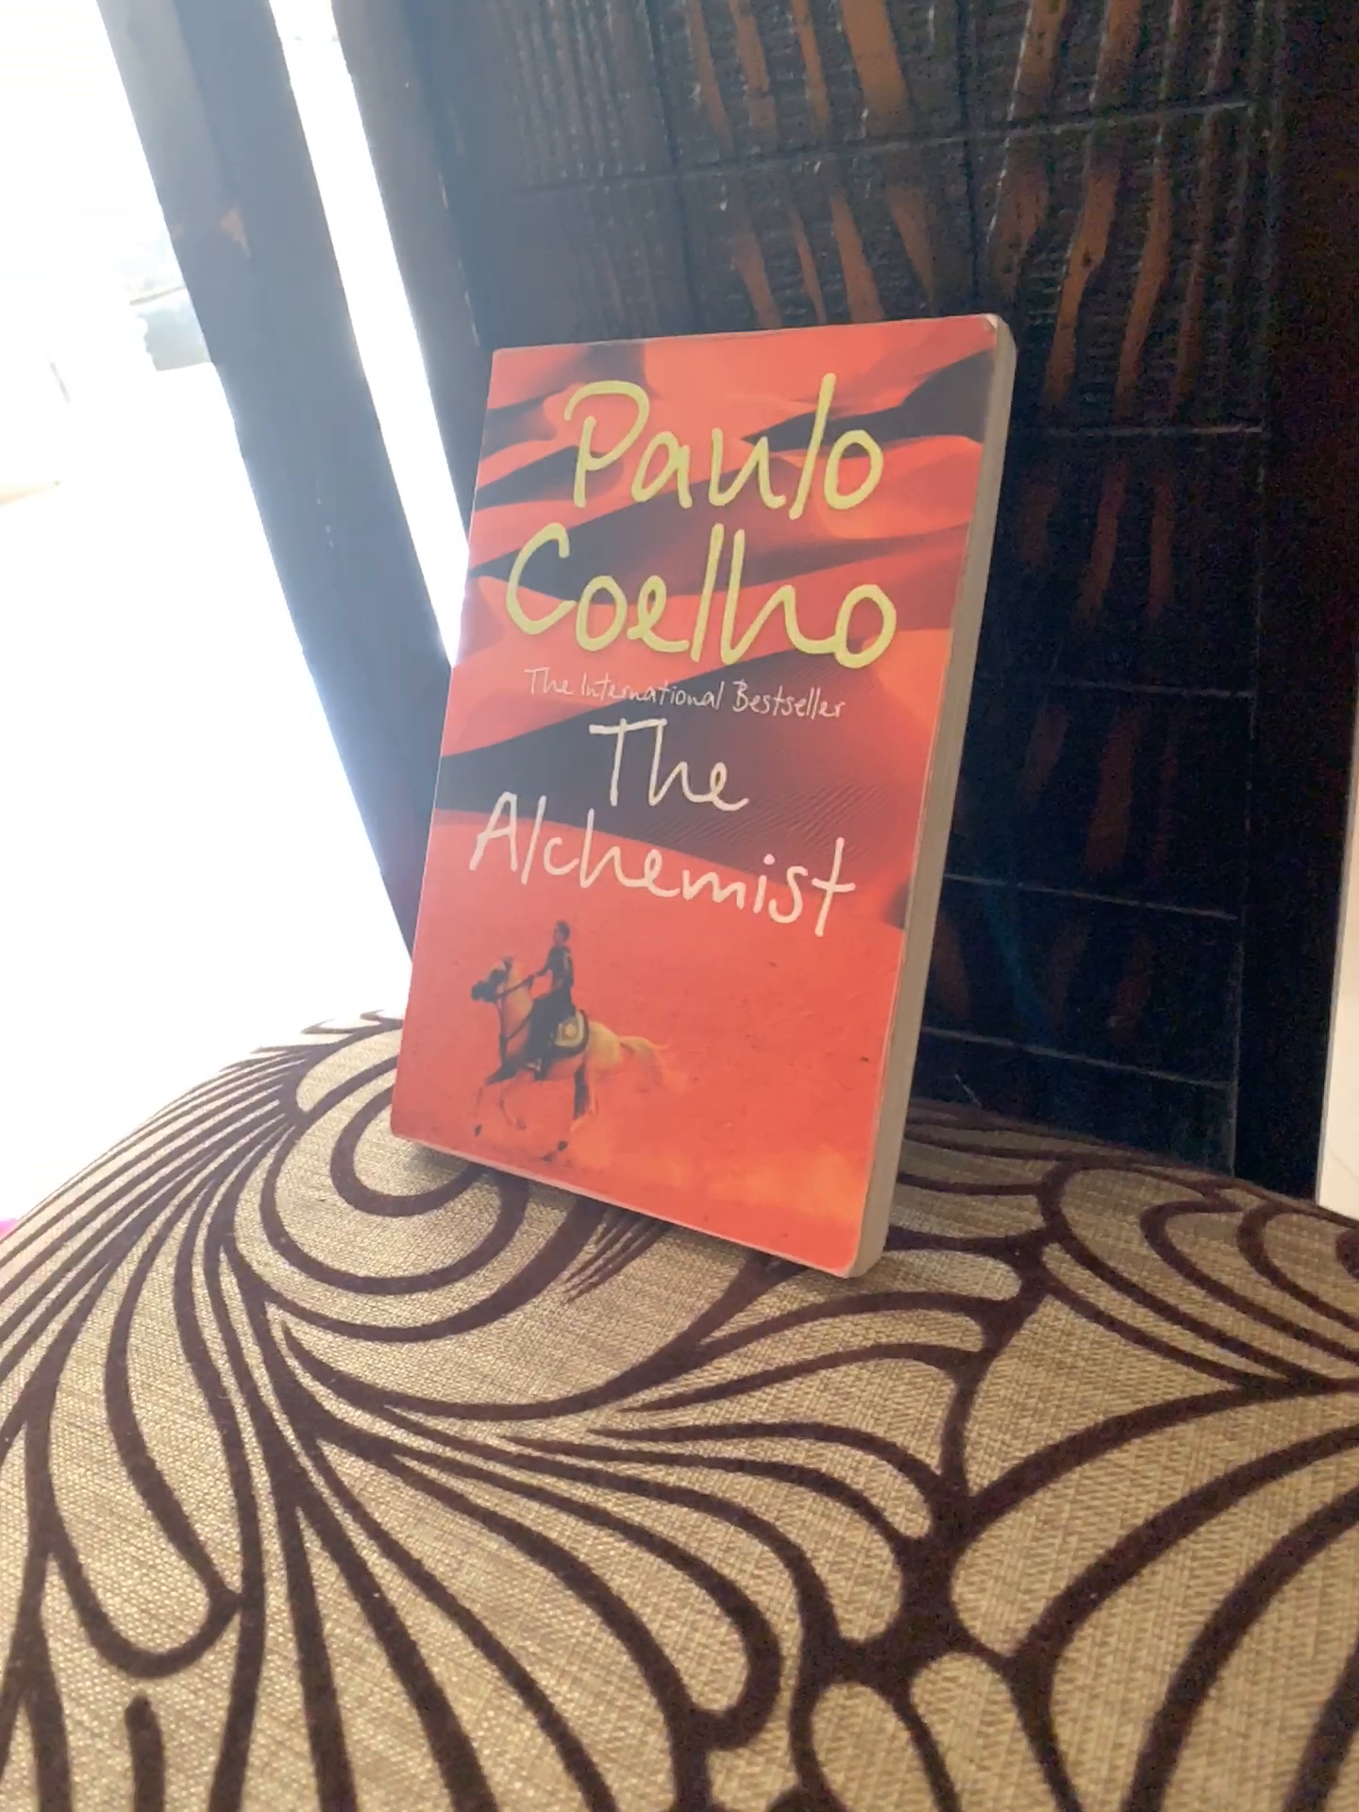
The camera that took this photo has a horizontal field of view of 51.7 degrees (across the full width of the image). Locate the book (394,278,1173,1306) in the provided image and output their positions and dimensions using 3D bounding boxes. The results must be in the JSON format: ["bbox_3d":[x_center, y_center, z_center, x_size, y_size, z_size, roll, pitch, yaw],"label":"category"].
[{"bbox_3d":[0.018,-0.032,0.316,0.140,0.200,0.030,10,-2,31],"label":"book"}]
